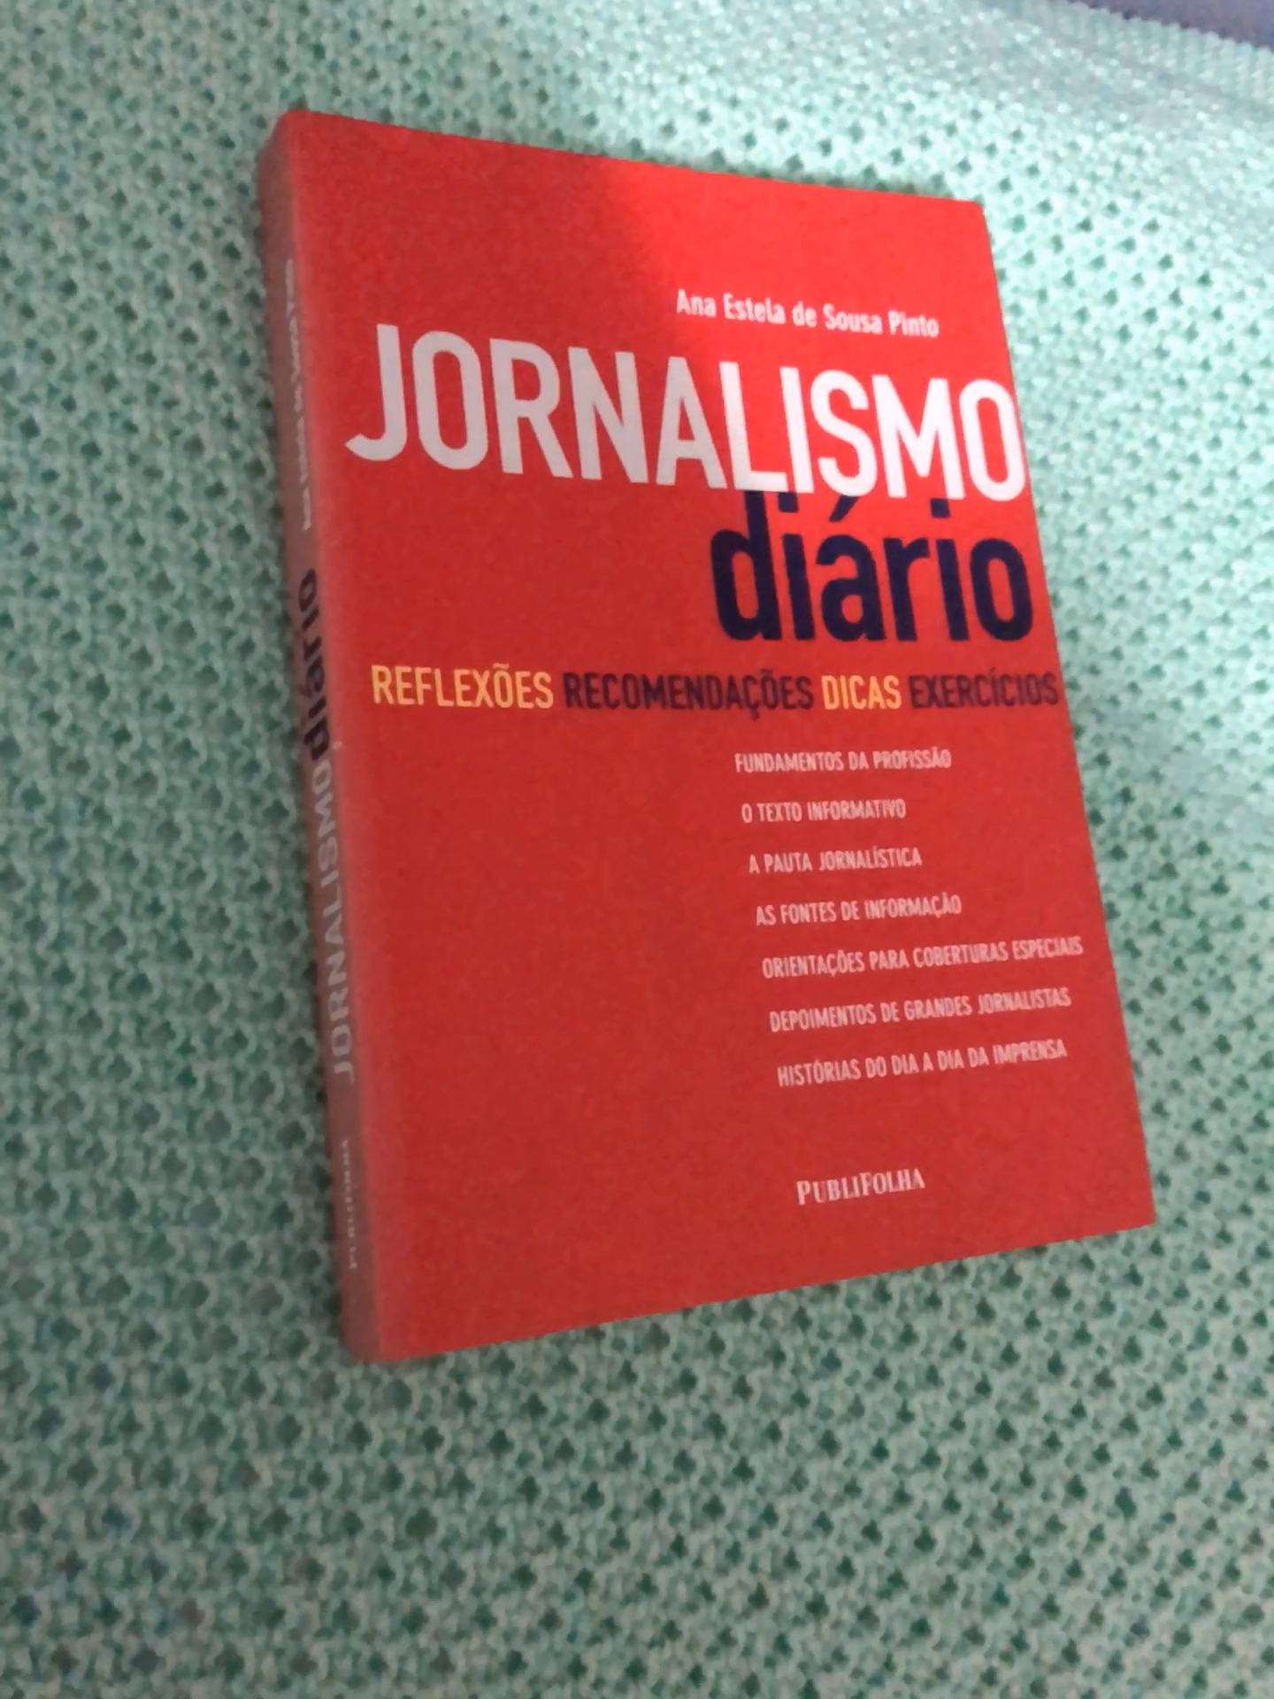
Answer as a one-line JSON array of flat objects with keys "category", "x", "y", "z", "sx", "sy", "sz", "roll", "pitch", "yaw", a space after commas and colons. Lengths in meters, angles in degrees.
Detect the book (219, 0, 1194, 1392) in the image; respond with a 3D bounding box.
[{"category": "book", "x": 0.009, "y": -0.042, "z": 0.275, "sx": 0.160, "sy": 0.030, "sz": 0.250, "roll": -3, "pitch": 78, "yaw": -18}]
